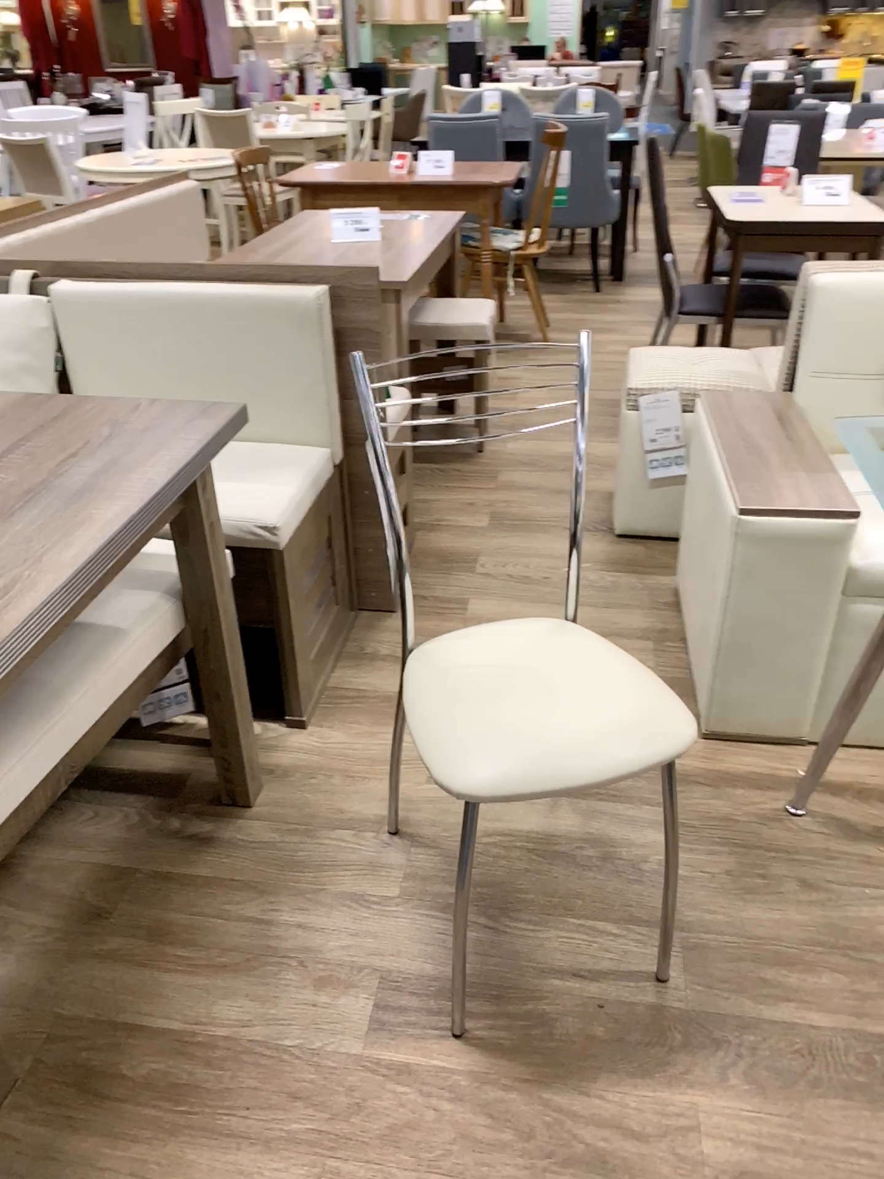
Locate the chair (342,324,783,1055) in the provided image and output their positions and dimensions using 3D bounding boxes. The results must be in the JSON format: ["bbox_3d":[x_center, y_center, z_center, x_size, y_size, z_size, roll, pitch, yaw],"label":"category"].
[{"bbox_3d":[0.123,0.155,1.398,0.413,0.967,0.483,-8,31,-12],"label":"chair"}]
